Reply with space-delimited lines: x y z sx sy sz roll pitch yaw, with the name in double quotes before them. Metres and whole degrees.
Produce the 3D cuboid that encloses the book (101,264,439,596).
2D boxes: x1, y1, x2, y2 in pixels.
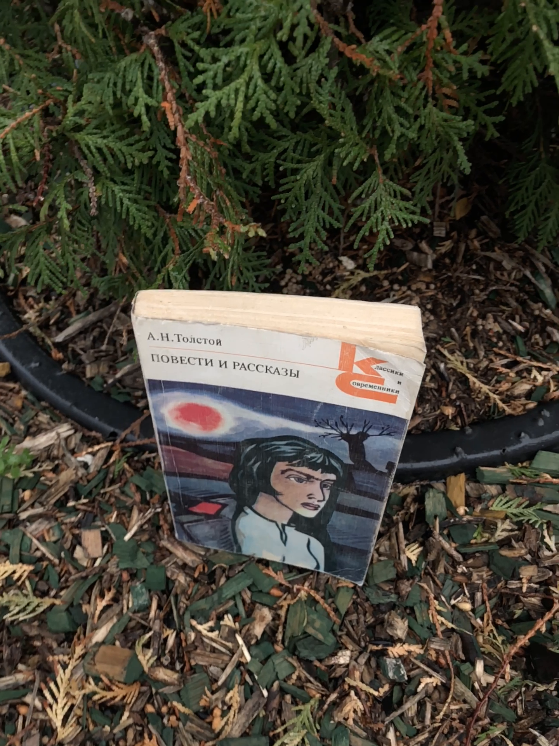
"book" -0.001 0.043 0.323 0.130 0.197 0.041 10 50 10
